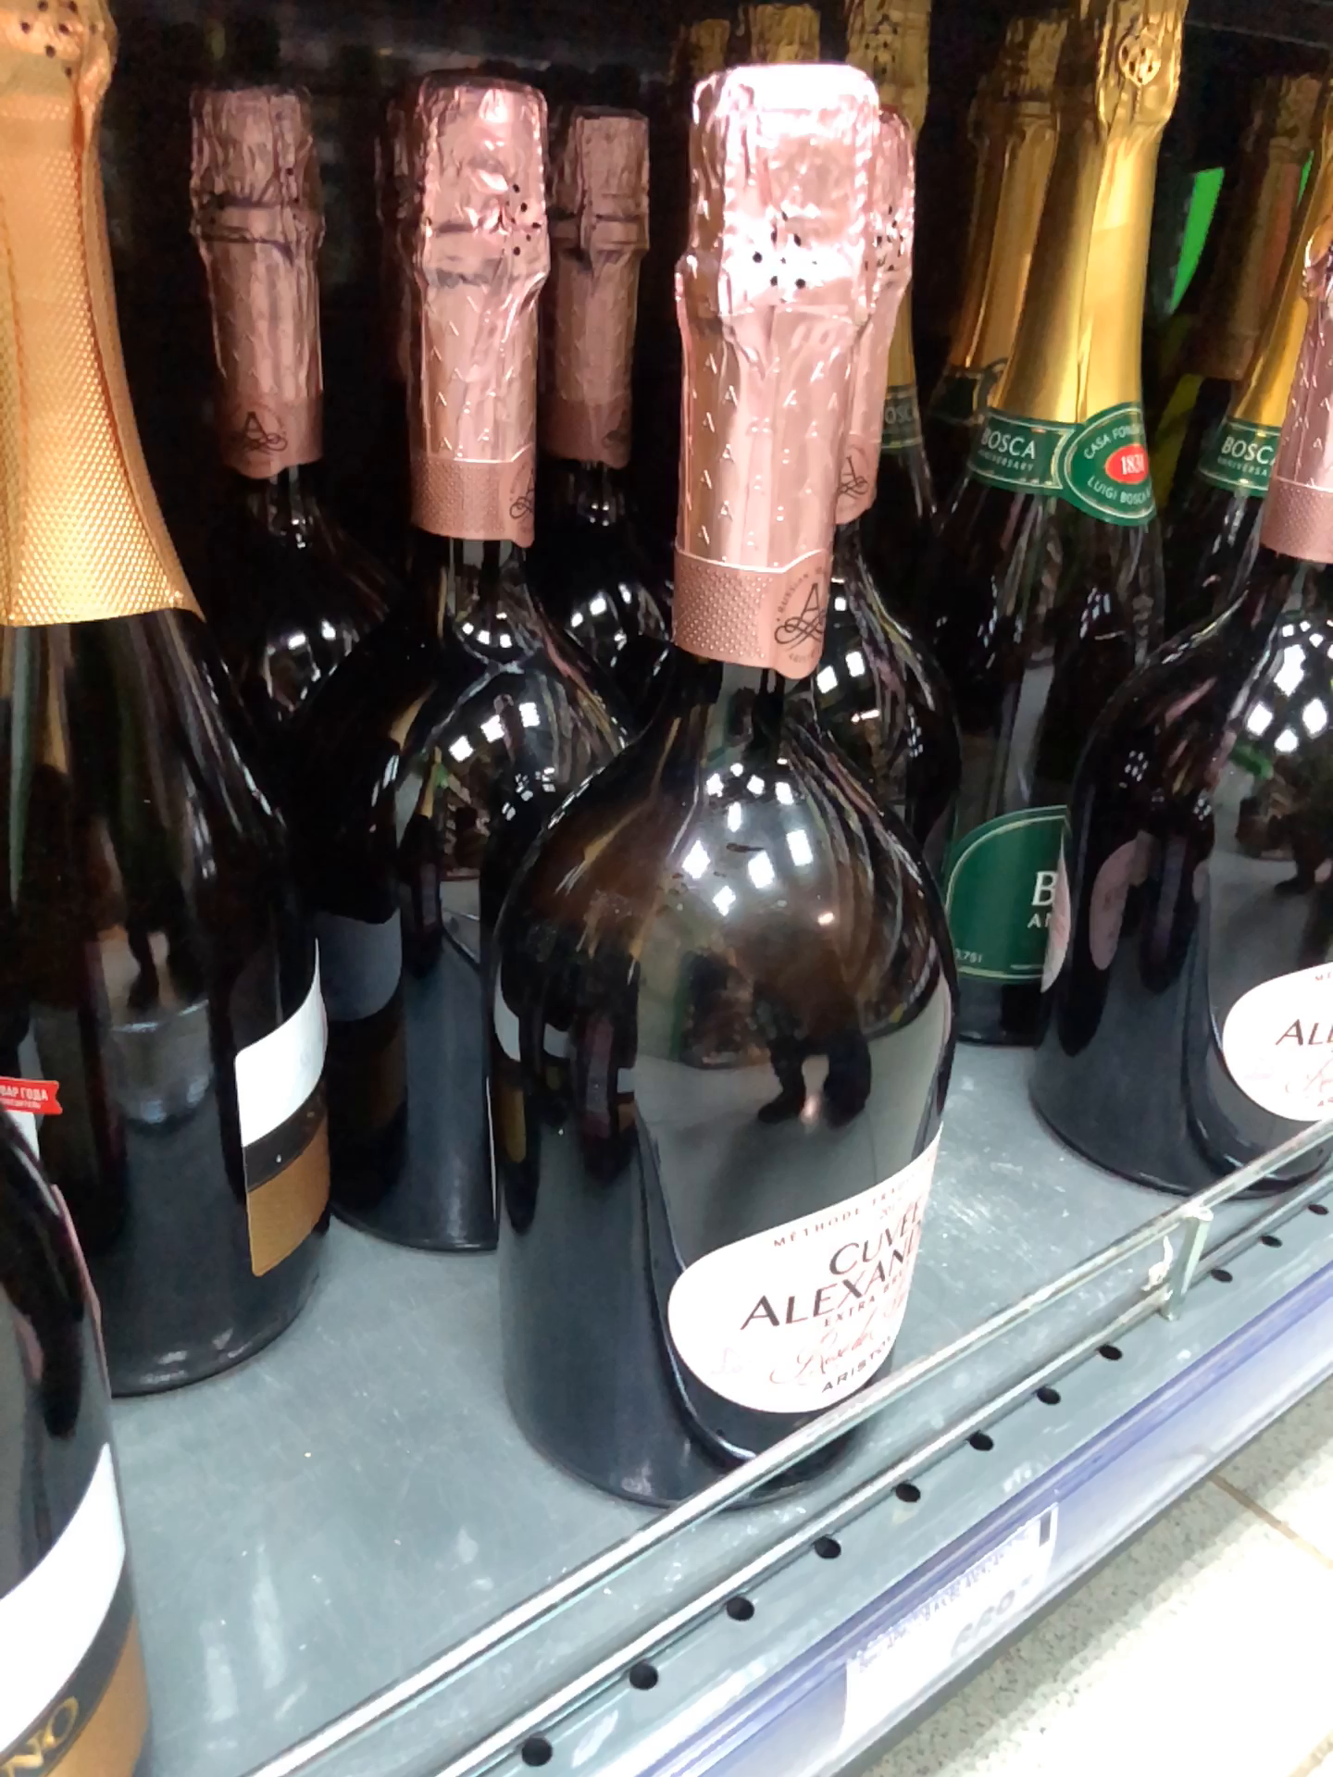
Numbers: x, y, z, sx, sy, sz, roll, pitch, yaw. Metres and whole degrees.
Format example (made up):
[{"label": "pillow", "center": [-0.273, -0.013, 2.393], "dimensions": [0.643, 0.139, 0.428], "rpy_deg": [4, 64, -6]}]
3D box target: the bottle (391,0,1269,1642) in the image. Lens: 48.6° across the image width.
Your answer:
[{"label": "bottle", "center": [0.021, -0.009, 0.294], "dimensions": [0.110, 0.279, 0.090], "rpy_deg": [-20, 33, -40]}]
